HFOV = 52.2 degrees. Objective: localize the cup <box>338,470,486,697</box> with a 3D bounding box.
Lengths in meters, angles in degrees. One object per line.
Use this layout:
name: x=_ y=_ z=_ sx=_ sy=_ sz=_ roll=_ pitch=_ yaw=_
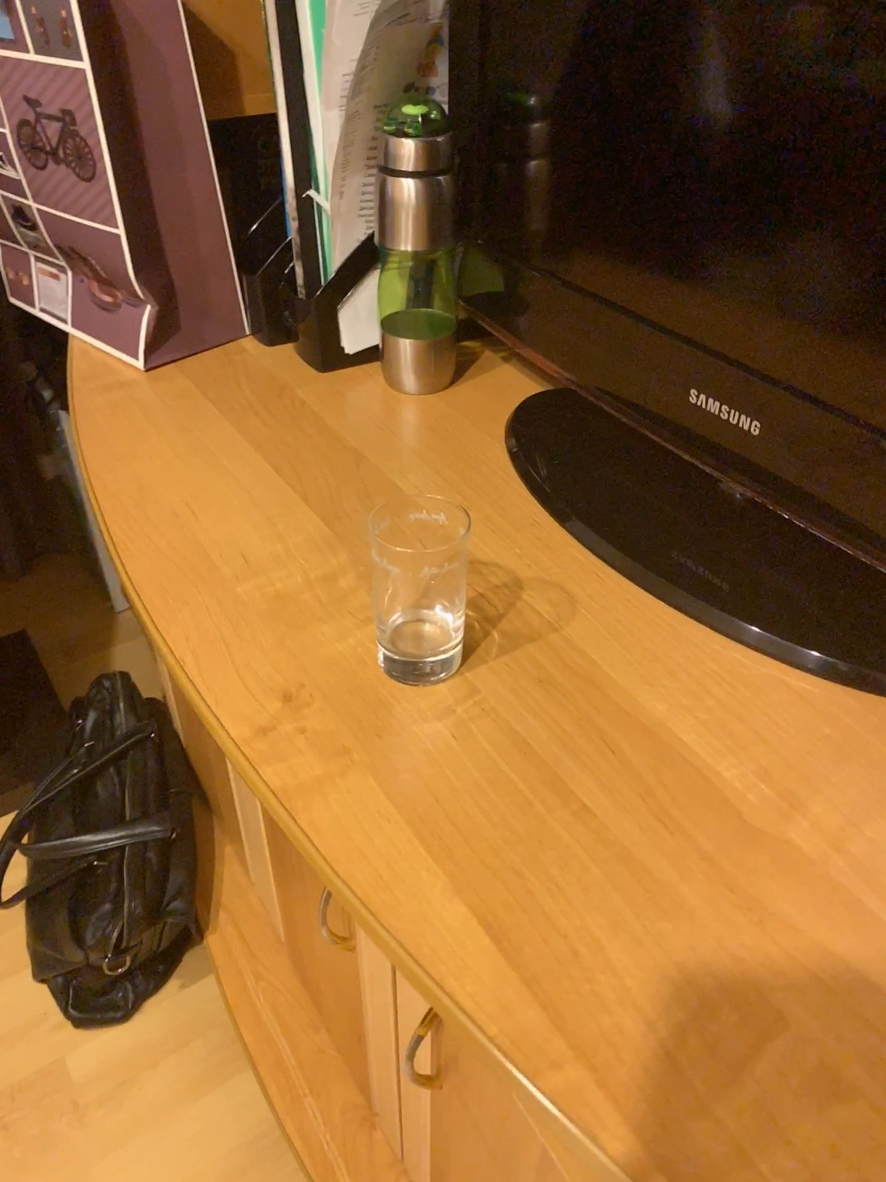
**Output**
cup: x=-0.015 y=-0.004 z=0.504 sx=0.060 sy=0.099 sz=0.060 roll=0 pitch=37 yaw=0
